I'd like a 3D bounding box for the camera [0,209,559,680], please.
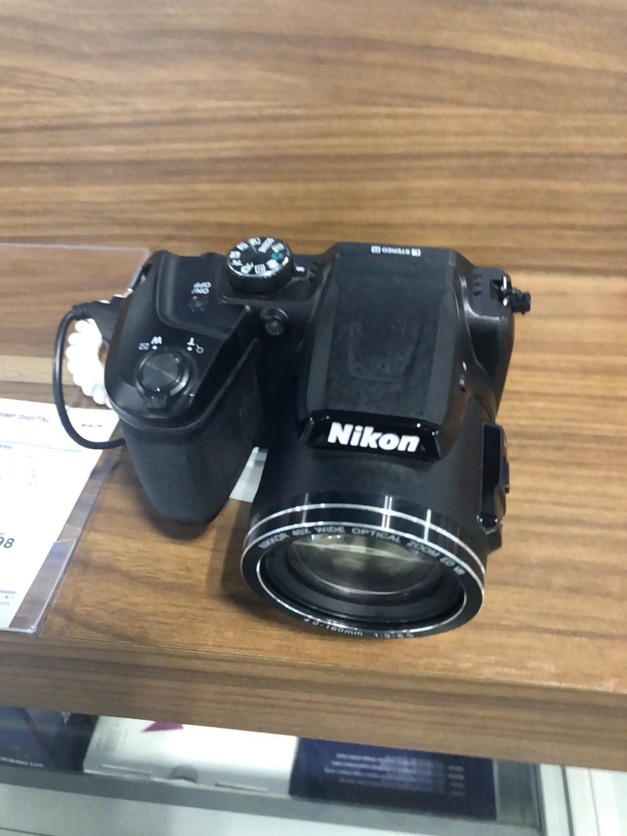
[{"bbox_3d":[-0.003,0.003,0.196,0.110,0.079,0.096,4,43,6],"label":"camera"}]
